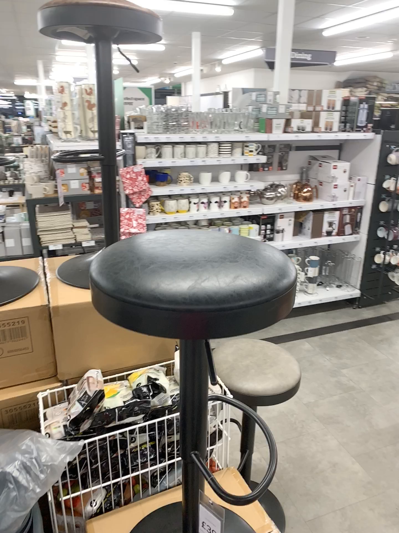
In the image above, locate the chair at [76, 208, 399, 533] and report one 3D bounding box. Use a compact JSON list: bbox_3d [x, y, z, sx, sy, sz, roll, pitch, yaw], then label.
[{"bbox_3d":[0.032,0.337,0.780,0.407,0.795,0.398,-7,21,-21],"label":"chair"}]
